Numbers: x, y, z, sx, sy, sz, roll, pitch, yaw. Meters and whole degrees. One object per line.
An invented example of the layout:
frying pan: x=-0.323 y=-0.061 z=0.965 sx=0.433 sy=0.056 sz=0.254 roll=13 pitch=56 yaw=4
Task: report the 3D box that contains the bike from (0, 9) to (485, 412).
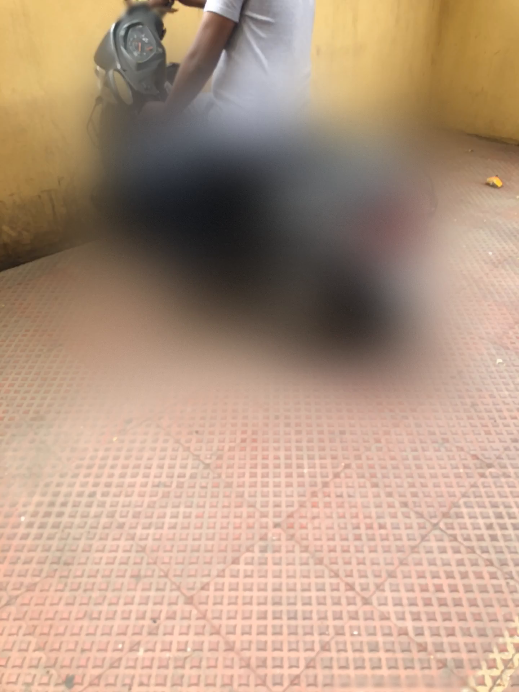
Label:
bike: x=-0.191 y=-0.619 z=2.071 sx=1.546 sy=1.016 sz=0.697 roll=24 pitch=42 yaw=34
